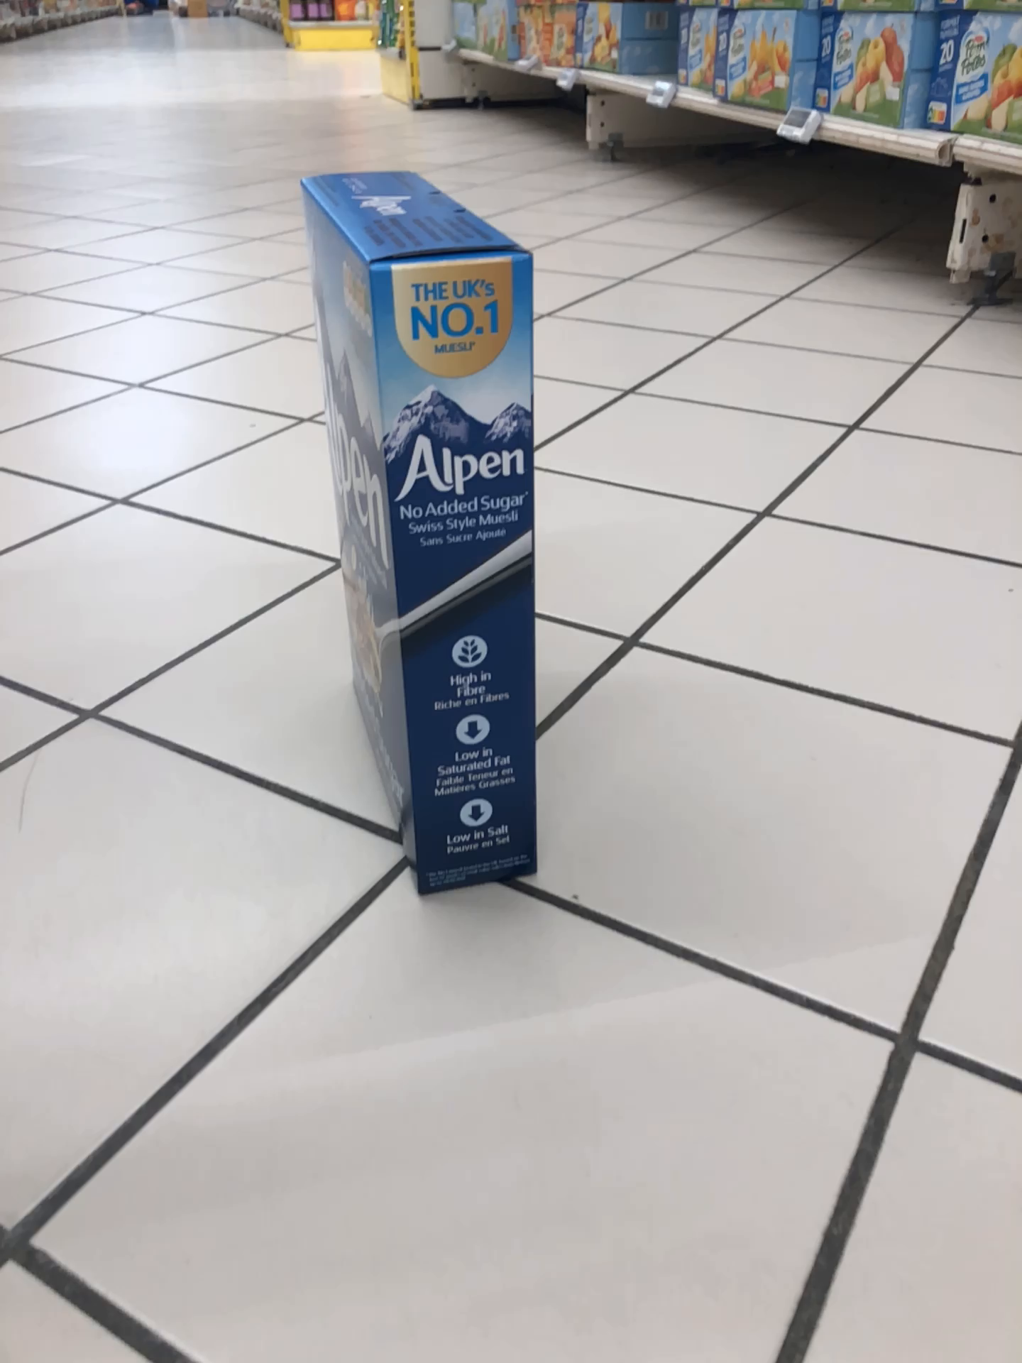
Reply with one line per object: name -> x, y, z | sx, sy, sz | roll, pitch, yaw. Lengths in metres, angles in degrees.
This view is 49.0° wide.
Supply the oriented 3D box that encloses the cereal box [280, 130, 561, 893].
cereal box -> -0.036, -0.072, 0.425 | 0.060, 0.229, 0.181 | -8, 32, -12
